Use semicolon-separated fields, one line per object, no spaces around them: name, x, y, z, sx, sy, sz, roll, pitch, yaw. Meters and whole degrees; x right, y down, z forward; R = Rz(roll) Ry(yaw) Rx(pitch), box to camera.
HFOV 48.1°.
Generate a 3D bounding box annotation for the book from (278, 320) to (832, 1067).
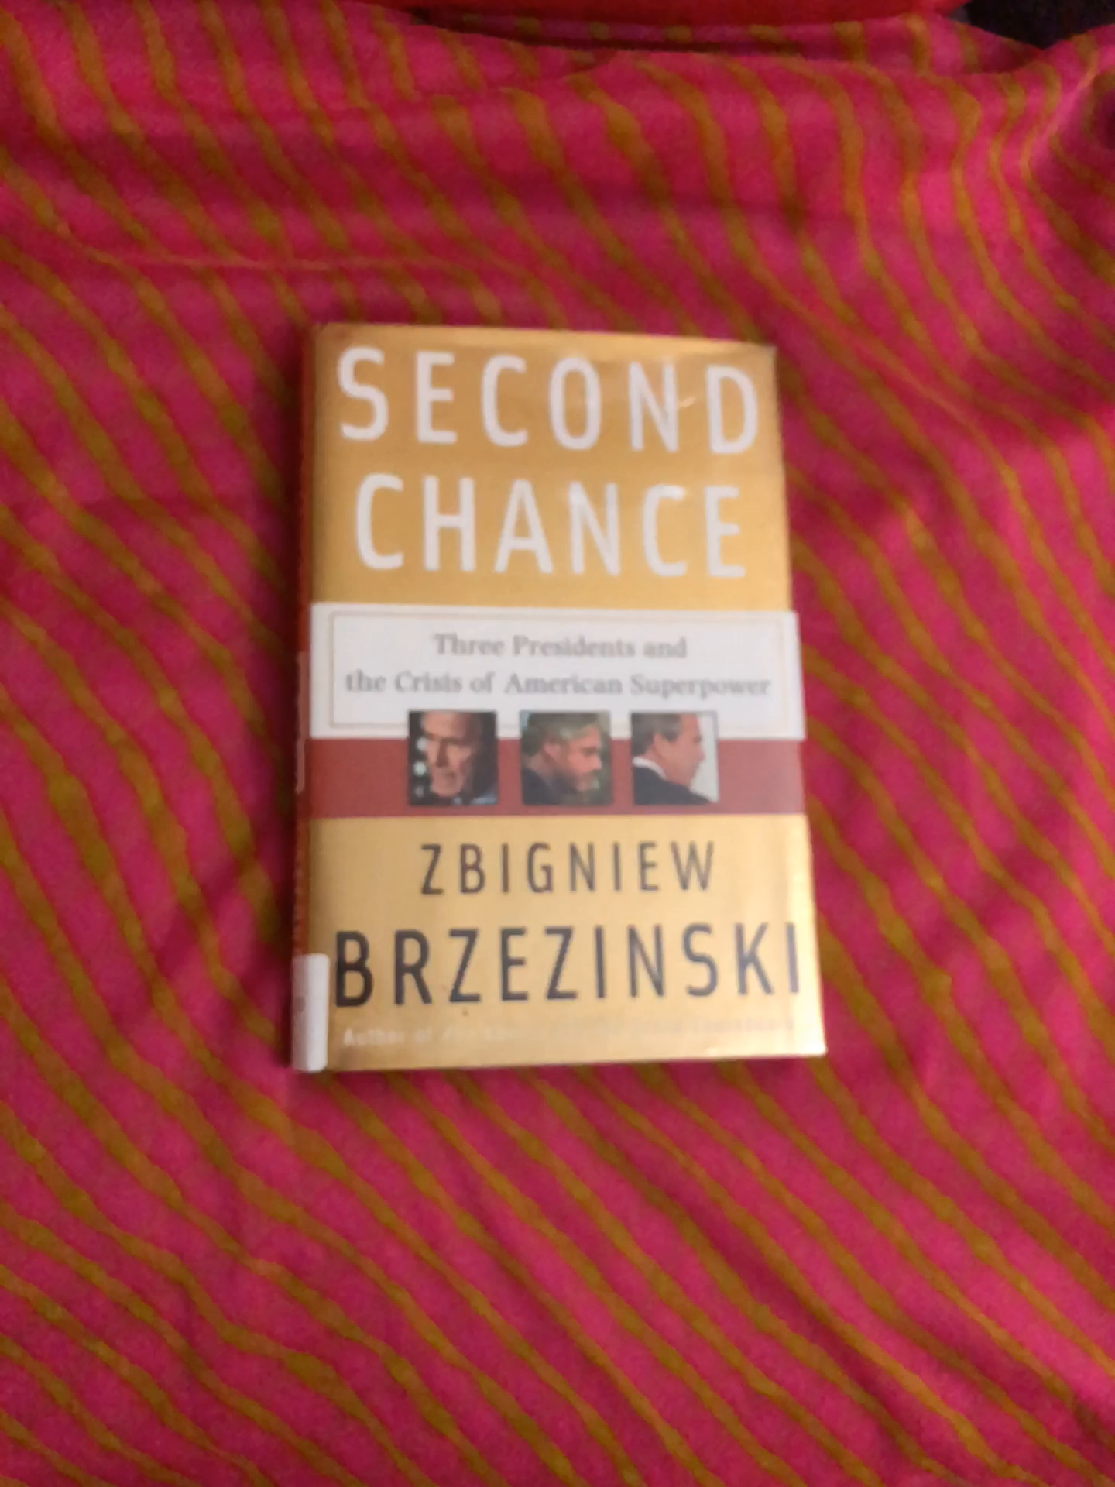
book;-0.003;-0.015;0.351;0.140;0.037;0.200;-1;80;-4
